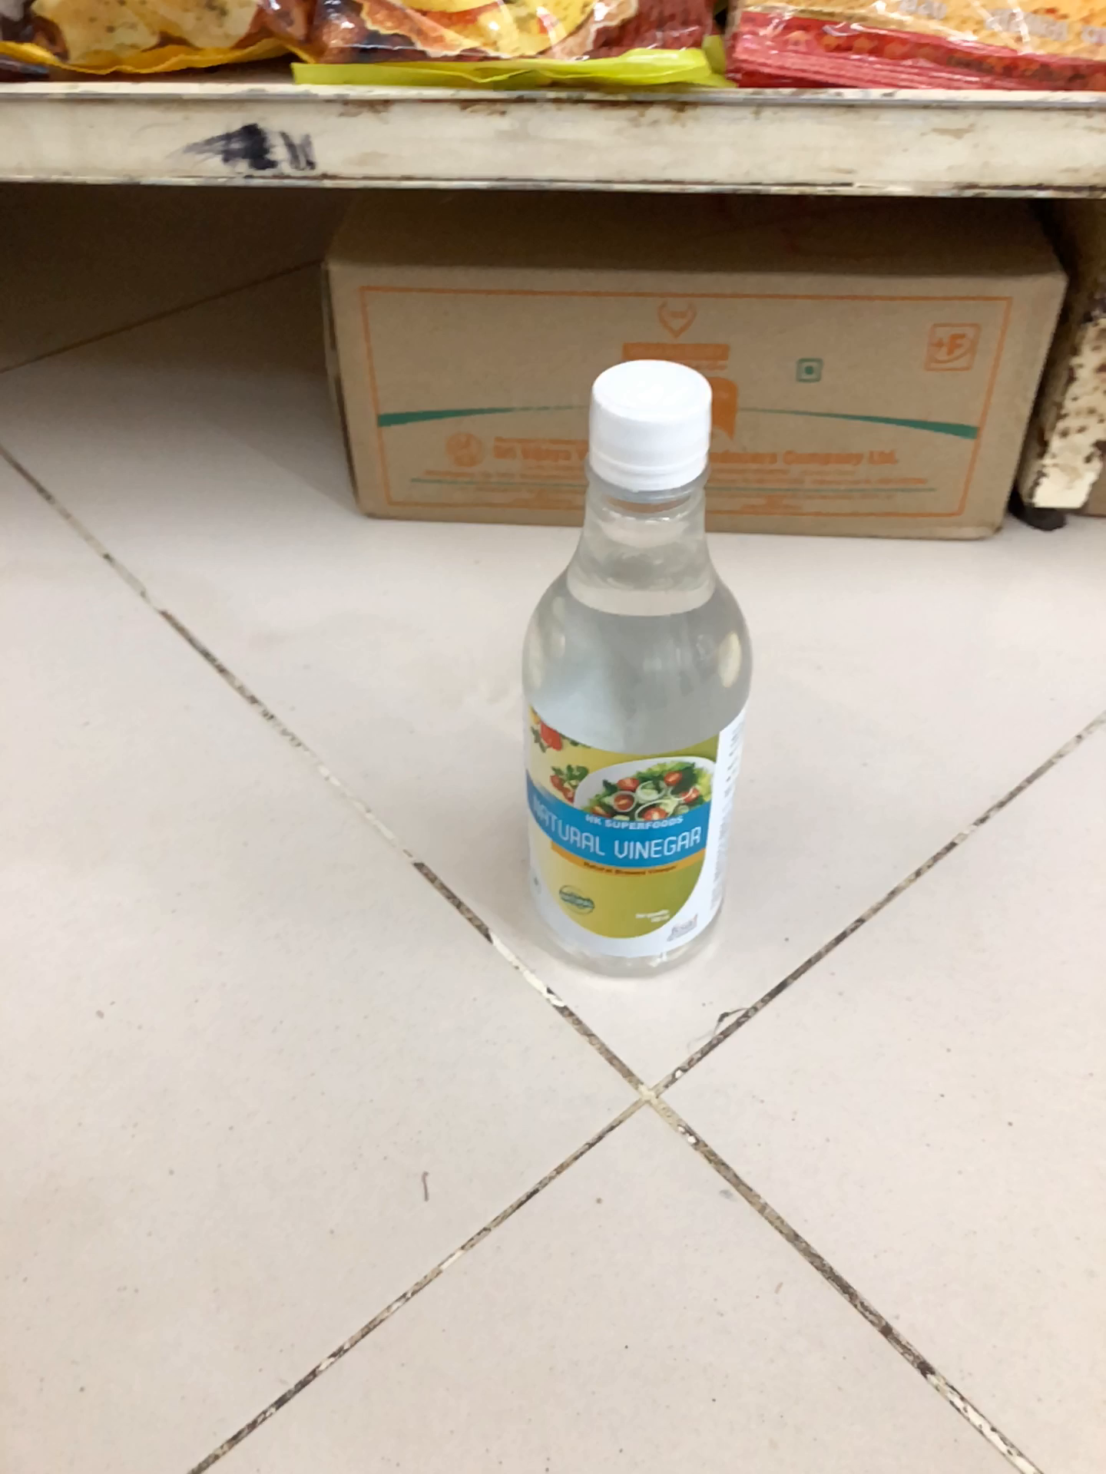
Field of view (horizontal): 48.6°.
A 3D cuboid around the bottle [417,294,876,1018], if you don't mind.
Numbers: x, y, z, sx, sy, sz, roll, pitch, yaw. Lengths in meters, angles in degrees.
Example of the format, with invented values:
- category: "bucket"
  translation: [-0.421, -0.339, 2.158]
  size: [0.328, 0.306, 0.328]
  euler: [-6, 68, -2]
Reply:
- category: "bottle"
  translation: [0.029, -0.018, 0.390]
  size: [0.090, 0.199, 0.091]
  euler: [-1, 44, 1]
